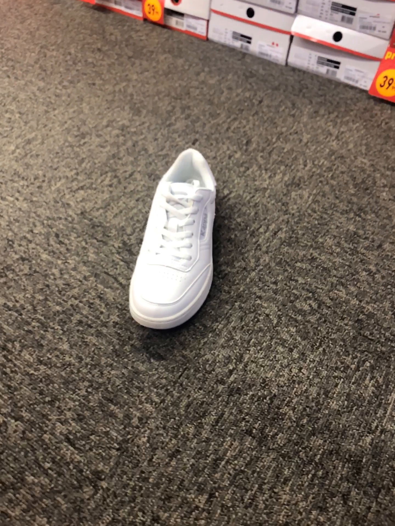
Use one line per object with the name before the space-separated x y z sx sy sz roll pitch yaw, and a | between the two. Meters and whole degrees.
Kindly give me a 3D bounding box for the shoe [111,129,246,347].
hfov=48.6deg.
shoe | -0.011 -0.044 0.528 0.100 0.090 0.261 10 50 5
